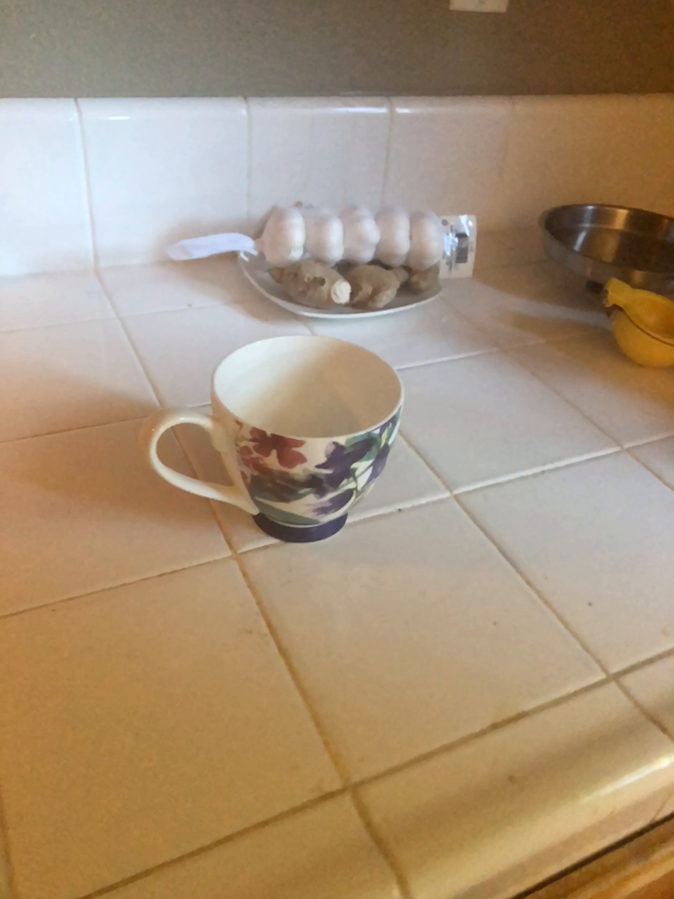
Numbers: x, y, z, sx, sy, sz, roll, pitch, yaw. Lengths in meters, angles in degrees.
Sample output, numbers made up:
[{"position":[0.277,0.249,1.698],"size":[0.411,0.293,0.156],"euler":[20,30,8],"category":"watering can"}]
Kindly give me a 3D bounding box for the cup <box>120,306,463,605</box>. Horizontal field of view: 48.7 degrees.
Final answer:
[{"position":[-0.026,-0.006,0.427],"size":[0.151,0.079,0.110],"euler":[-24,47,-34],"category":"cup"}]
